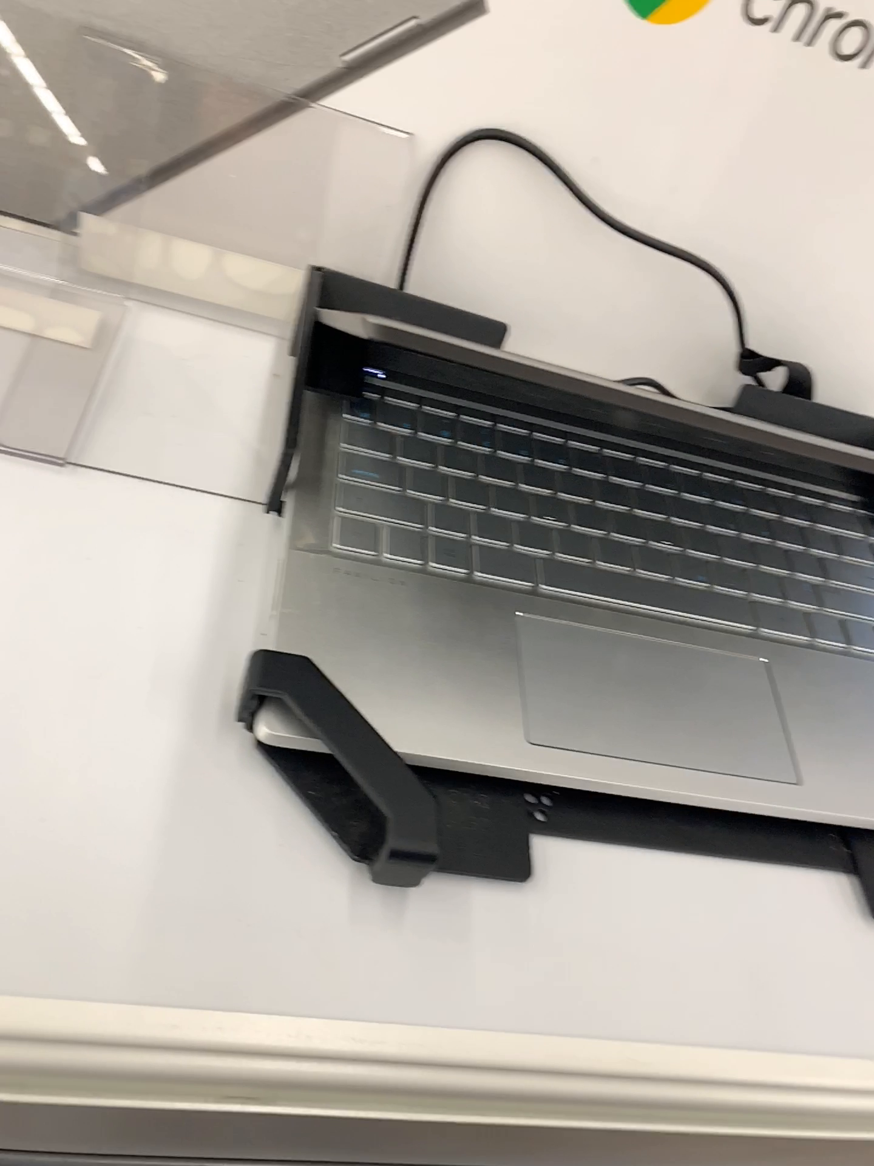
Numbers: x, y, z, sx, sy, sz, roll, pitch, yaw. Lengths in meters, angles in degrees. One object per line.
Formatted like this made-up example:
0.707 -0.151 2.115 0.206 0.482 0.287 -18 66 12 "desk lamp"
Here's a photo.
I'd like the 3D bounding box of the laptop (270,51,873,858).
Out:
0.102 -0.042 0.313 0.283 0.111 0.194 11 49 -12 "laptop"
